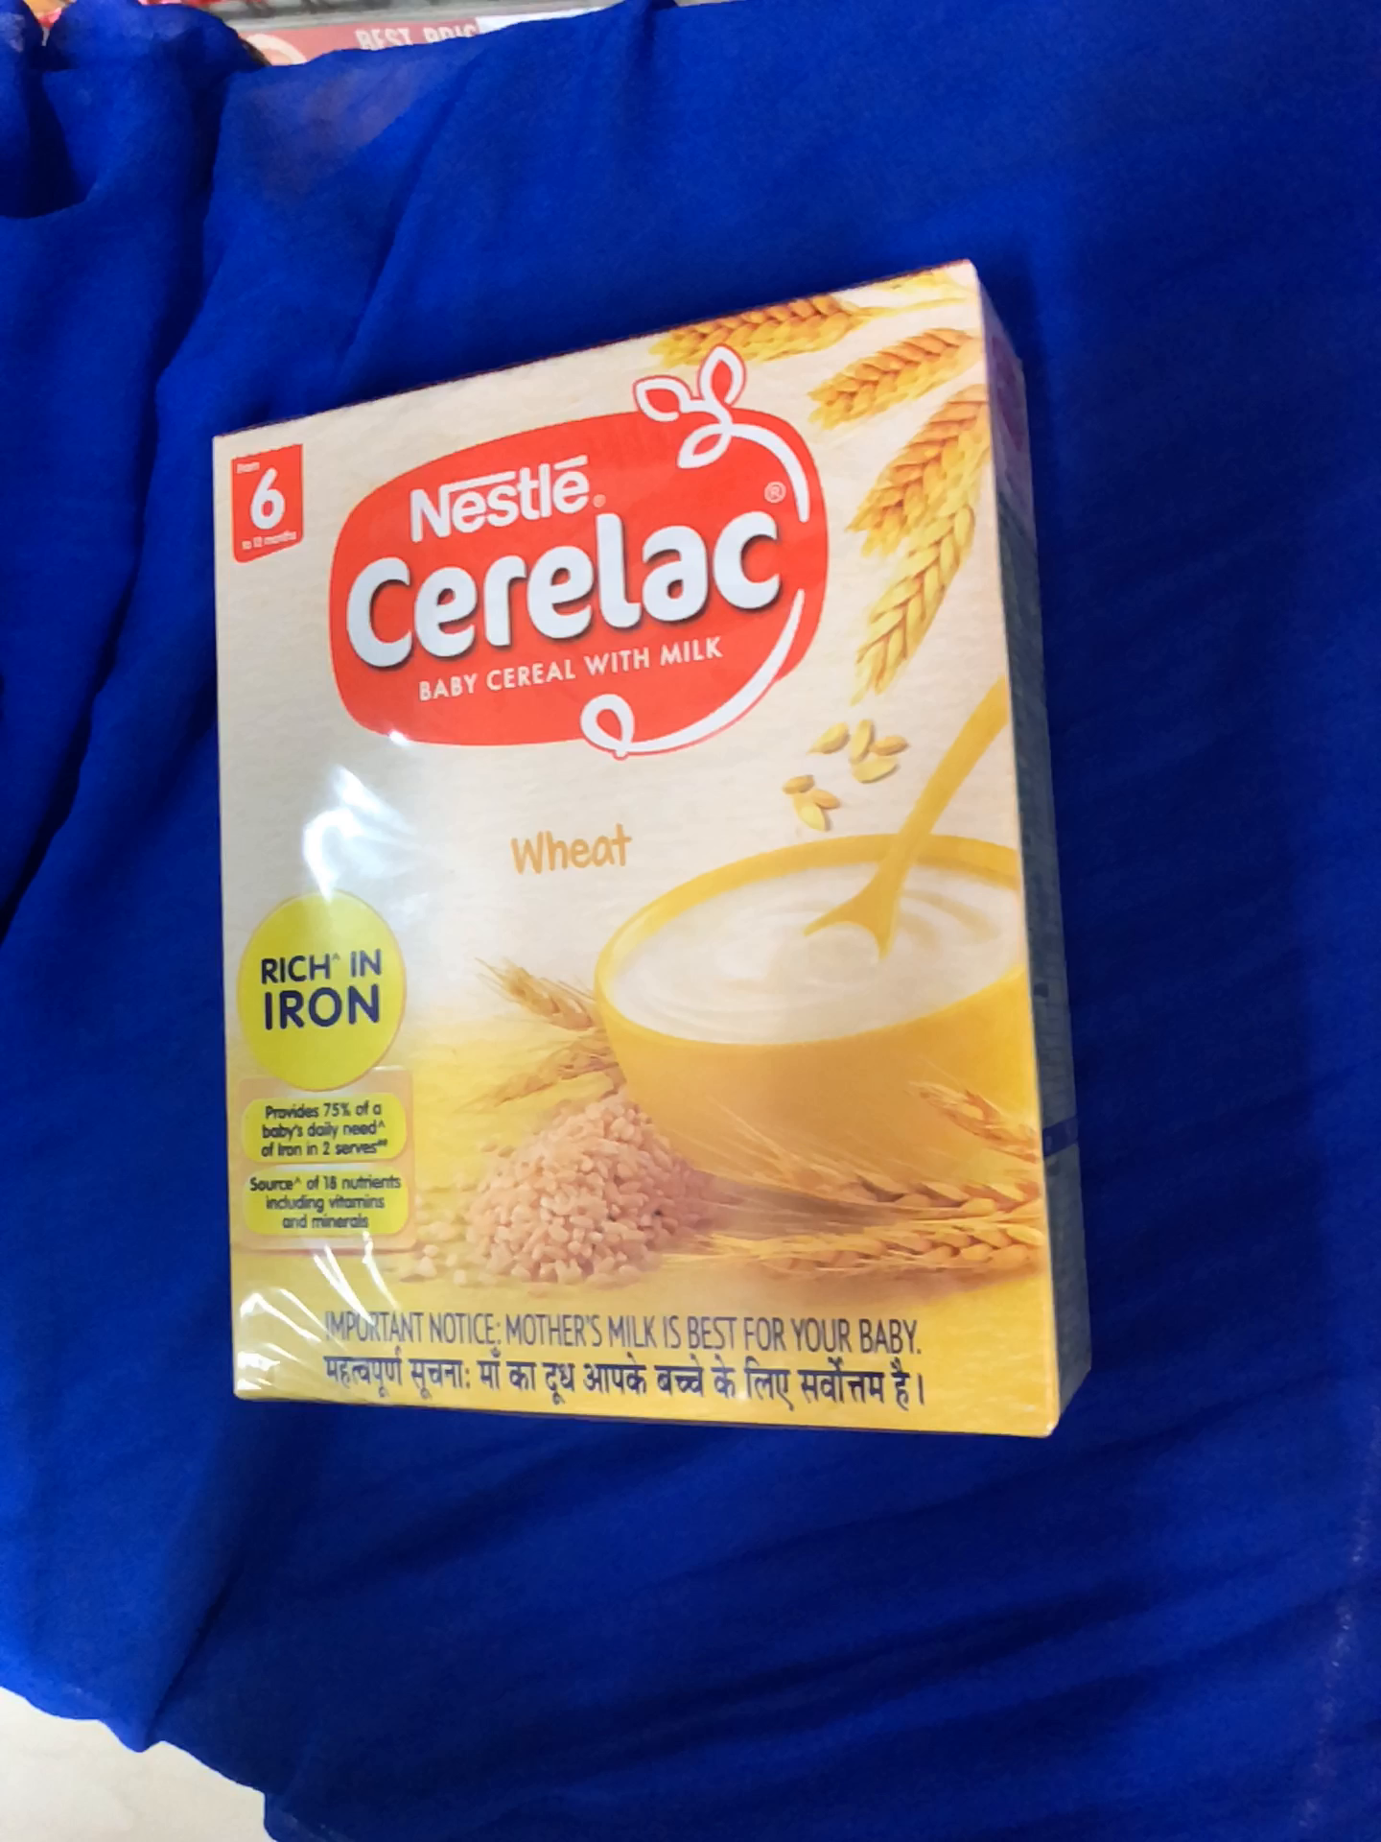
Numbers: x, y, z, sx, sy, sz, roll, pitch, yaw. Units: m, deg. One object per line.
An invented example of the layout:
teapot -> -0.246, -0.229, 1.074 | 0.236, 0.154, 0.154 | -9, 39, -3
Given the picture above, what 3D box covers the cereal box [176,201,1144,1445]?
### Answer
cereal box -> -0.007, -0.010, 0.285 | 0.160, 0.060, 0.190 | -4, 85, 18
